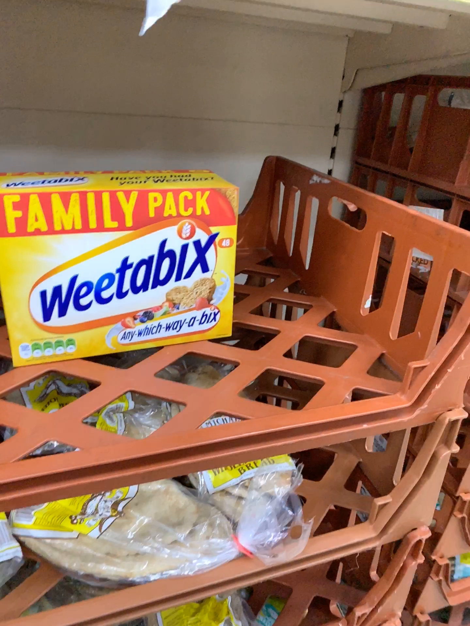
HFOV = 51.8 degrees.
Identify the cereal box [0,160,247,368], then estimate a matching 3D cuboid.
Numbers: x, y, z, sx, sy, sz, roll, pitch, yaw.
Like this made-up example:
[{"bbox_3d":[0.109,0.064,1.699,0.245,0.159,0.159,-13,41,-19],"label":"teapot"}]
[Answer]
[{"bbox_3d":[-0.133,-0.064,0.544,0.260,0.188,0.101,-7,28,-22],"label":"cereal box"}]
